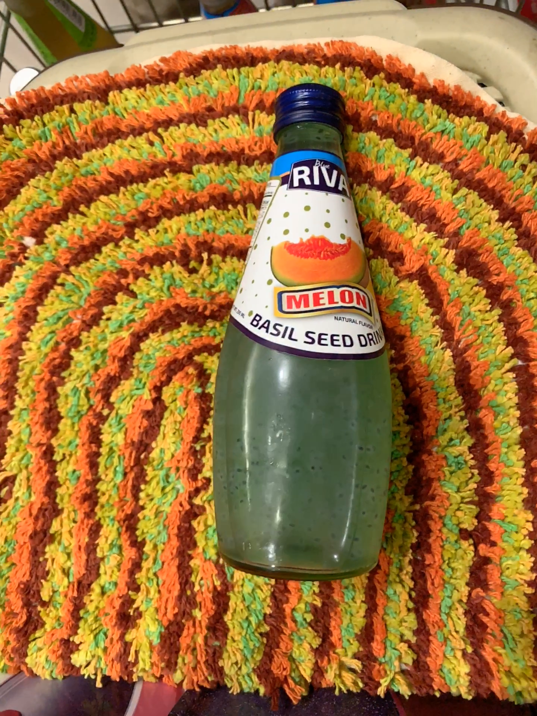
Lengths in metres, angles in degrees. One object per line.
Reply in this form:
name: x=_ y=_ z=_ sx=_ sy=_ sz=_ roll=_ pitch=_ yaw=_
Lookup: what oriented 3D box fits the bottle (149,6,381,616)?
bottle: x=-0.003 y=-0.015 z=0.195 sx=0.060 sy=0.060 sz=0.180 roll=5 pitch=81 yaw=-10
